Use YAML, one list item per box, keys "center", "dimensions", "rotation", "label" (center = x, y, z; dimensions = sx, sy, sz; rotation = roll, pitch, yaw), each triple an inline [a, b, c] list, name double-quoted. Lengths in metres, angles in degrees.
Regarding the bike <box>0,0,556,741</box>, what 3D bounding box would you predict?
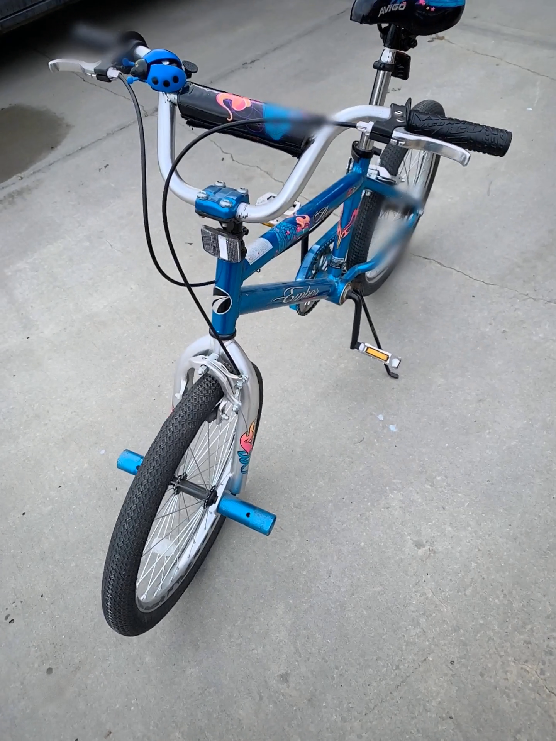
- center: [0.143, -0.188, 1.037]
  dimensions: [0.682, 0.837, 1.389]
  rotation: [18, 53, 23]
  label: "bike"
